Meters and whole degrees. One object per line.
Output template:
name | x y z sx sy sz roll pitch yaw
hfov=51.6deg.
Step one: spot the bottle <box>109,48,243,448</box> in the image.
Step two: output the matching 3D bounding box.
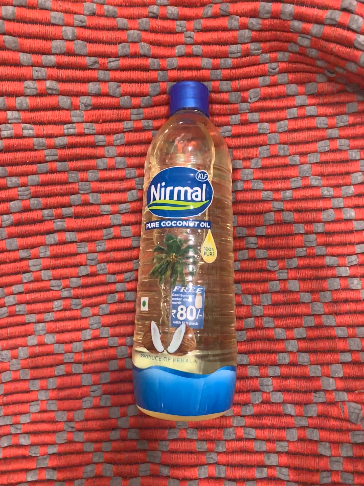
bottle | 0.002 -0.001 0.218 0.060 0.050 0.200 1 83 12
